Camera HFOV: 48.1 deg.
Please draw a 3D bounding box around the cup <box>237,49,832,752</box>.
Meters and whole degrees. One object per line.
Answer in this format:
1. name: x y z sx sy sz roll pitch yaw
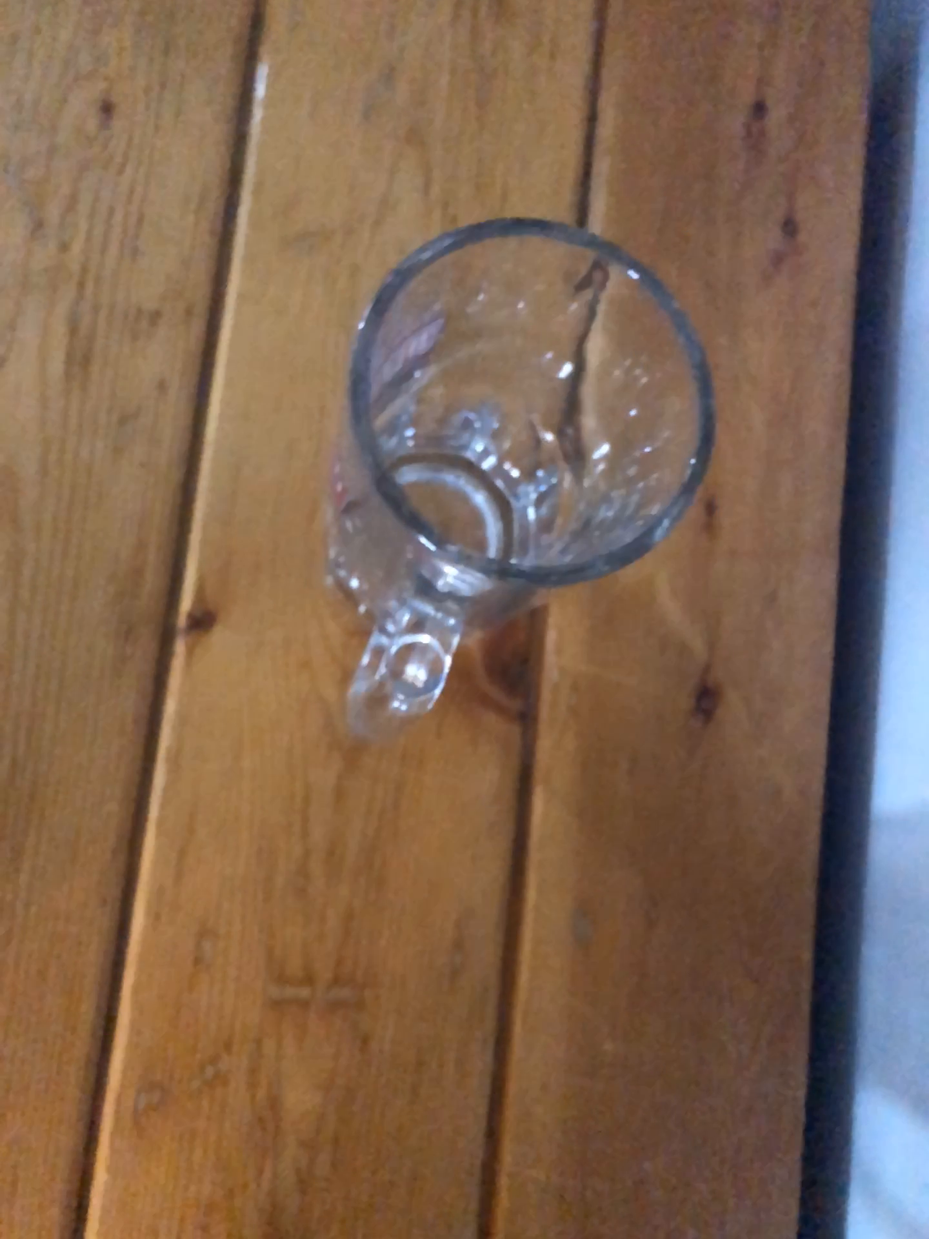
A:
1. cup: 0.007 -0.048 0.377 0.110 0.210 0.160 23 80 -6
